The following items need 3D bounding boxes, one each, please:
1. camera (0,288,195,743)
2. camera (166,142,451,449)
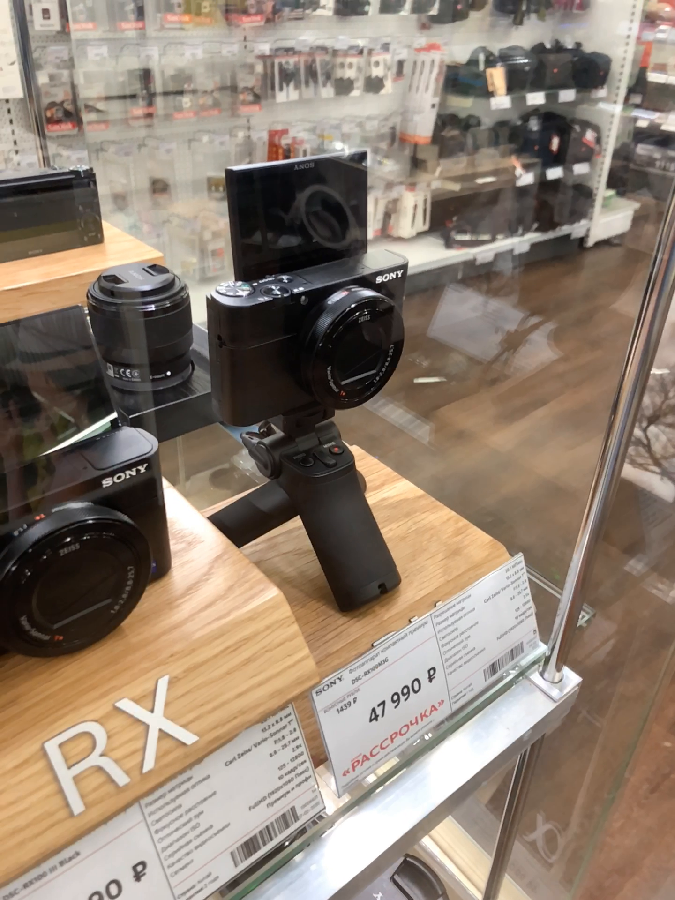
[{"bbox_3d":[-0.112,0.015,0.248,0.102,0.102,0.065,-23,41,-33],"label":"camera"},{"bbox_3d":[-0.012,-0.072,0.331,0.102,0.102,0.057,-23,41,-33],"label":"camera"}]
